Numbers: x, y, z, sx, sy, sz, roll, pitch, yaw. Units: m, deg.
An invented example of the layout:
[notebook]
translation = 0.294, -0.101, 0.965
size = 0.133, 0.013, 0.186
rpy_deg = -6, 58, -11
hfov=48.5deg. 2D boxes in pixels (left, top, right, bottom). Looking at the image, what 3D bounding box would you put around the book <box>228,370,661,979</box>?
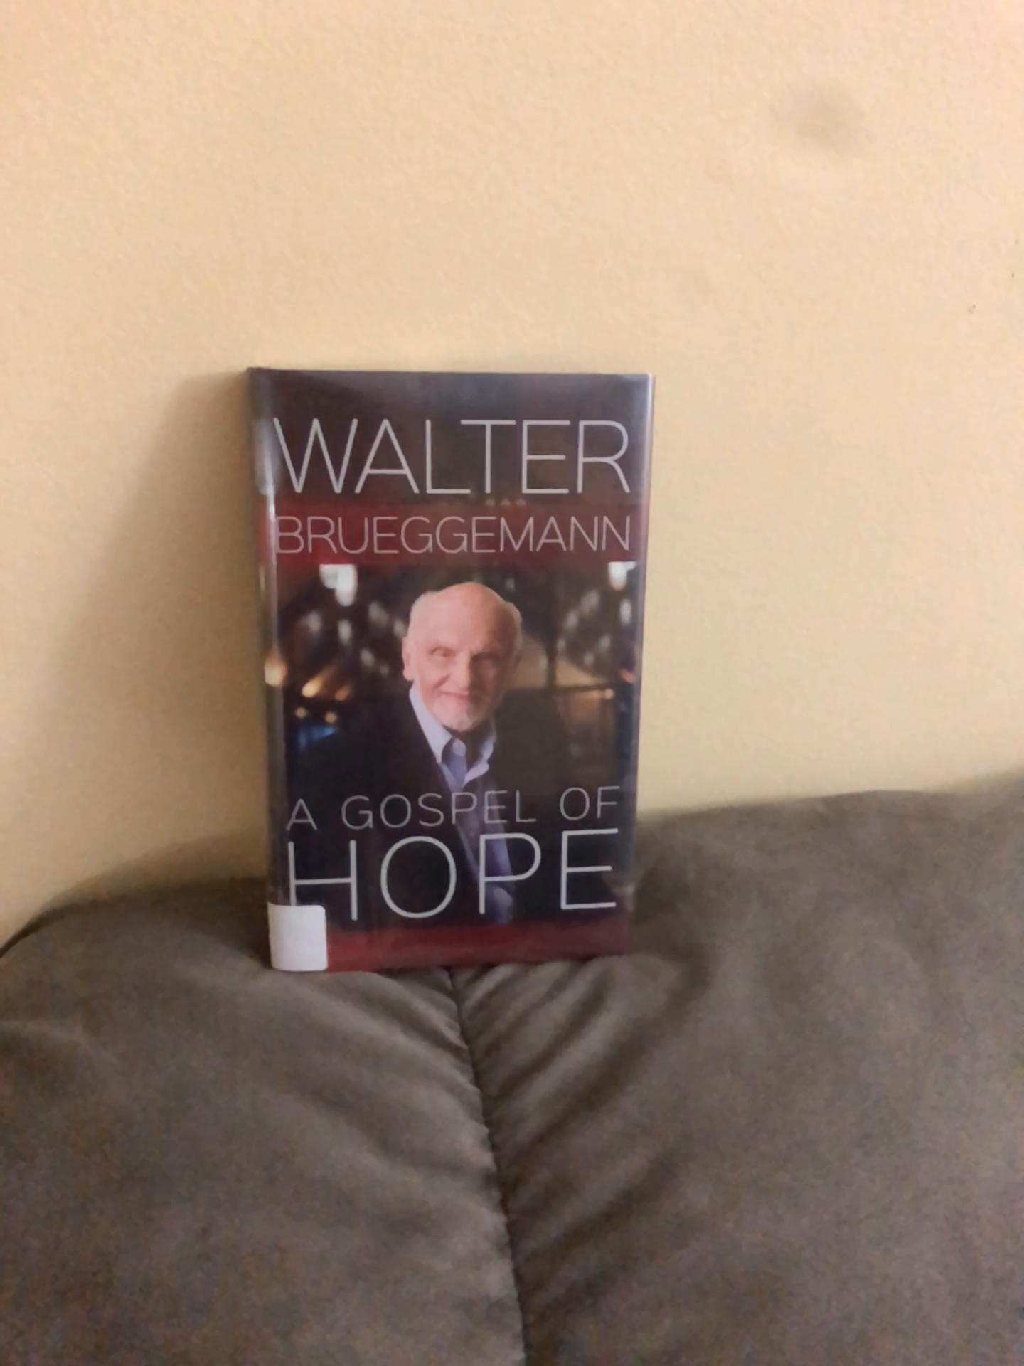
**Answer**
[book]
translation = -0.021, -0.001, 0.404
size = 0.140, 0.210, 0.027
rpy_deg = -2, 12, -4
